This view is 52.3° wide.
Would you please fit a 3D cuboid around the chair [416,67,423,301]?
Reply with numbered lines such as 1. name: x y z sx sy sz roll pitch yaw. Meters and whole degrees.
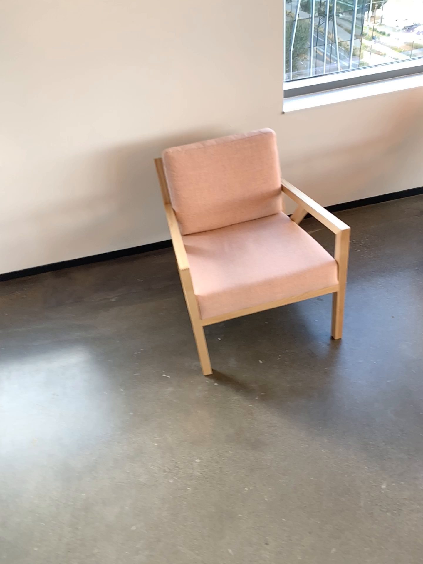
1. chair: 1.537 -0.472 2.072 0.740 0.794 0.775 1 40 11

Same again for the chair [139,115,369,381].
1. chair: 0.147 -0.178 2.001 0.740 0.794 0.775 -13 41 -5
